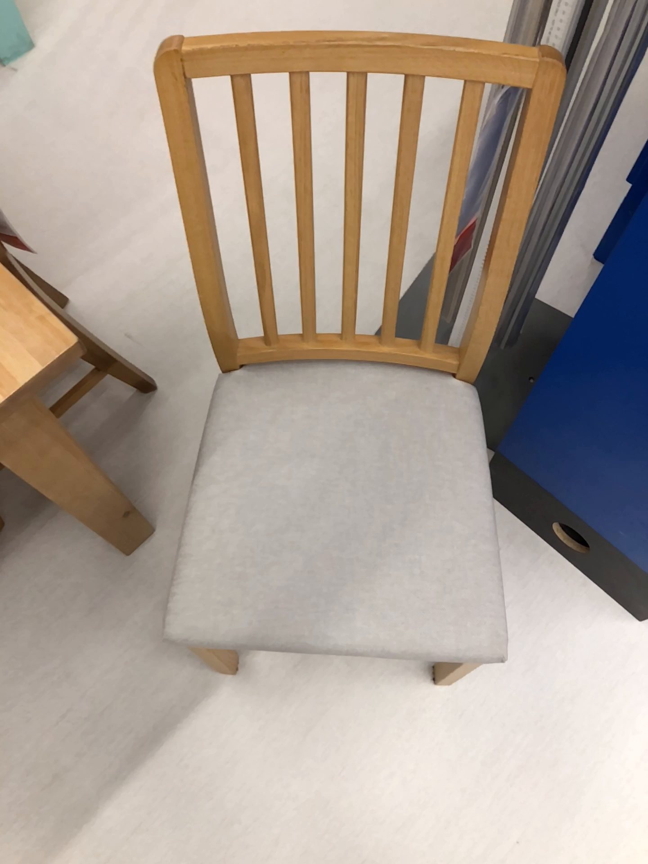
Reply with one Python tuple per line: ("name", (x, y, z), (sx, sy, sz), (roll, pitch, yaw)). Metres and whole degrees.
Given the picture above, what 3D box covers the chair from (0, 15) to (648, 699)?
("chair", (0.023, 0.042, 0.919), (0.450, 0.857, 0.512), (3, 68, 2))
